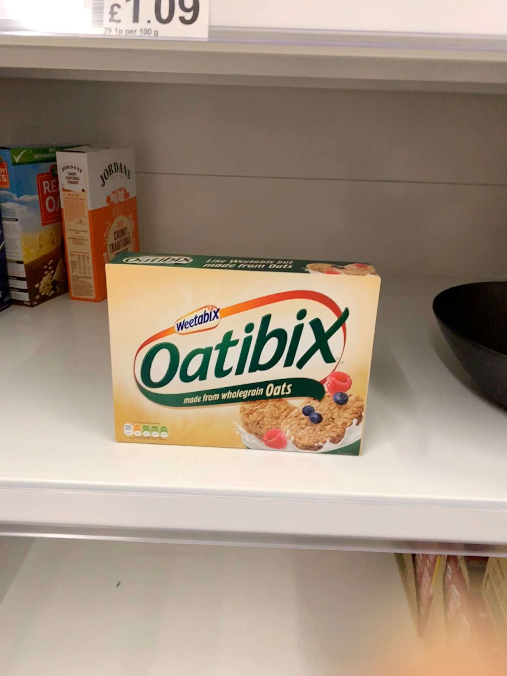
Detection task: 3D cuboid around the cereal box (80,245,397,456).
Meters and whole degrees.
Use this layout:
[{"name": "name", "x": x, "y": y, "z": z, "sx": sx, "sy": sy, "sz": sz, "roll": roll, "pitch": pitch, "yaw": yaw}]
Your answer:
[{"name": "cereal box", "x": -0.015, "y": 0.012, "z": 0.508, "sx": 0.270, "sy": 0.179, "sz": 0.071, "roll": 3, "pitch": 22, "yaw": 2}]
